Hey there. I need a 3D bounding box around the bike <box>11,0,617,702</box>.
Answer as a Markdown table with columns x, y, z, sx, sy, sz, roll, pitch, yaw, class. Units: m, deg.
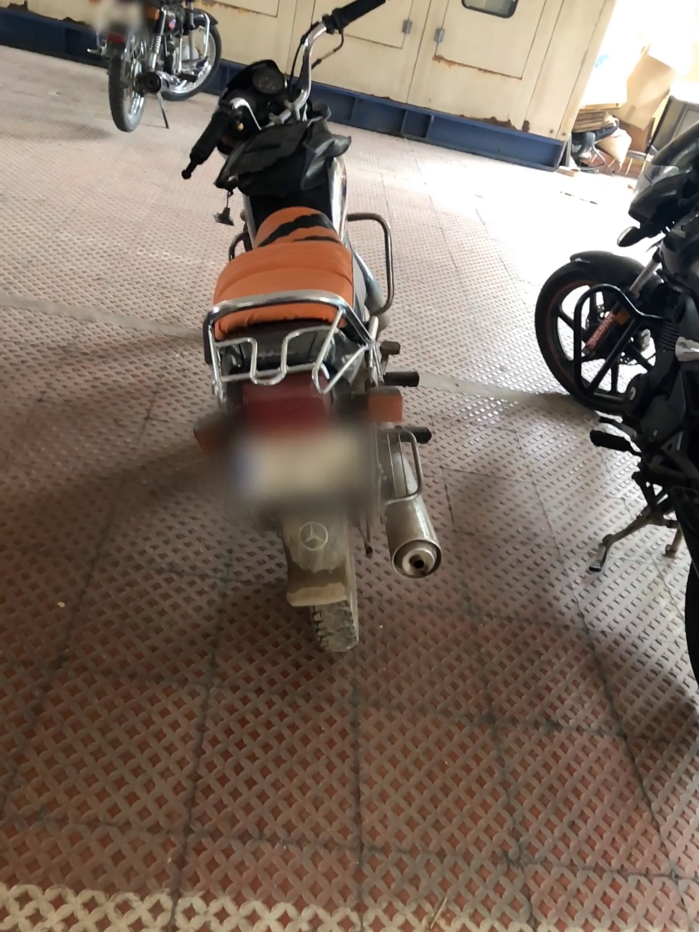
| x | y | z | sx | sy | sz | roll | pitch | yaw | class |
| --- | --- | --- | --- | --- | --- | --- | --- | --- | --- |
| -0.241 | -0.421 | 1.737 | 0.688 | 1.123 | 1.410 | 6 | 35 | -14 | bike |
